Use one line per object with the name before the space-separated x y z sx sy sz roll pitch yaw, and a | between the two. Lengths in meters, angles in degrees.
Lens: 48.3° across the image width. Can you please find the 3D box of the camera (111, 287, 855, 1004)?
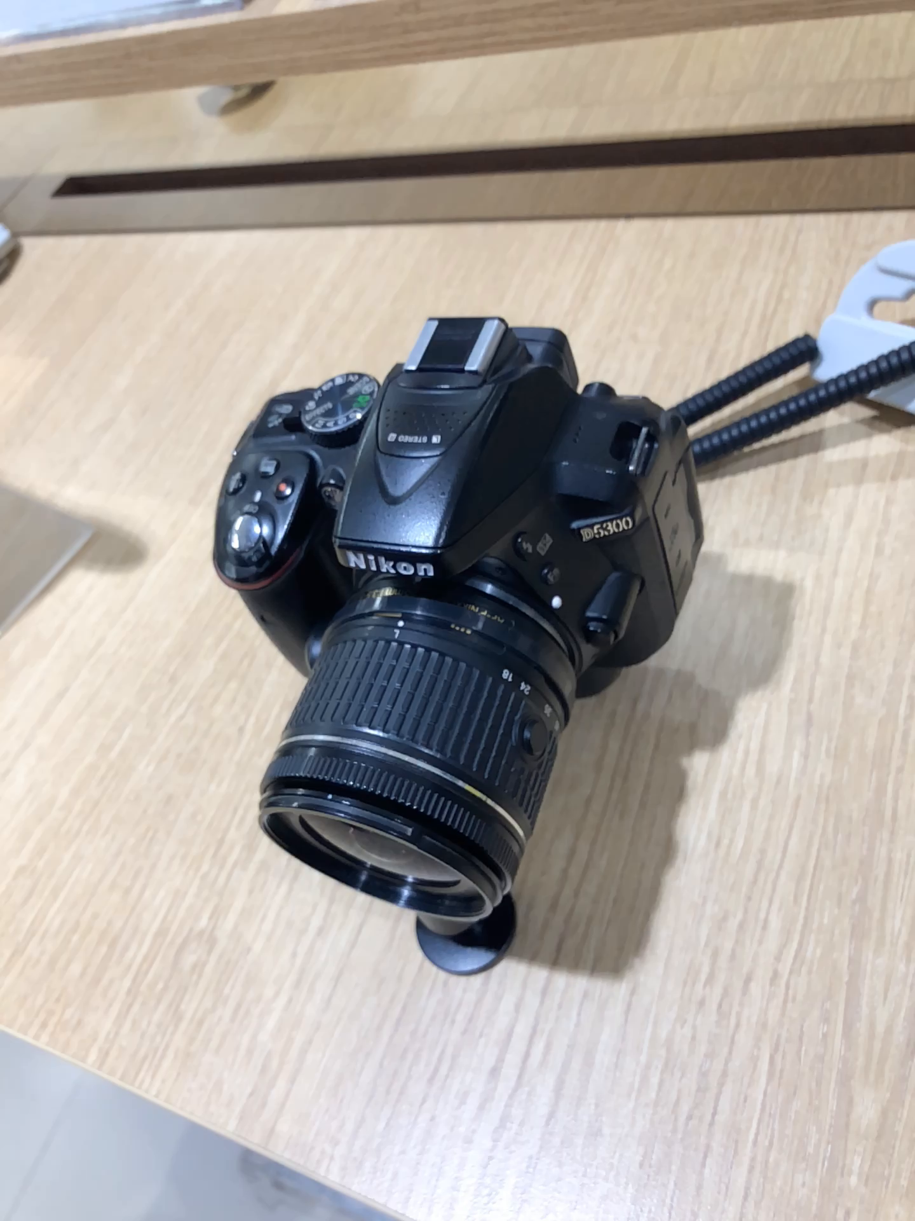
camera | 0.020 0.005 0.237 0.120 0.102 0.110 7 57 26
